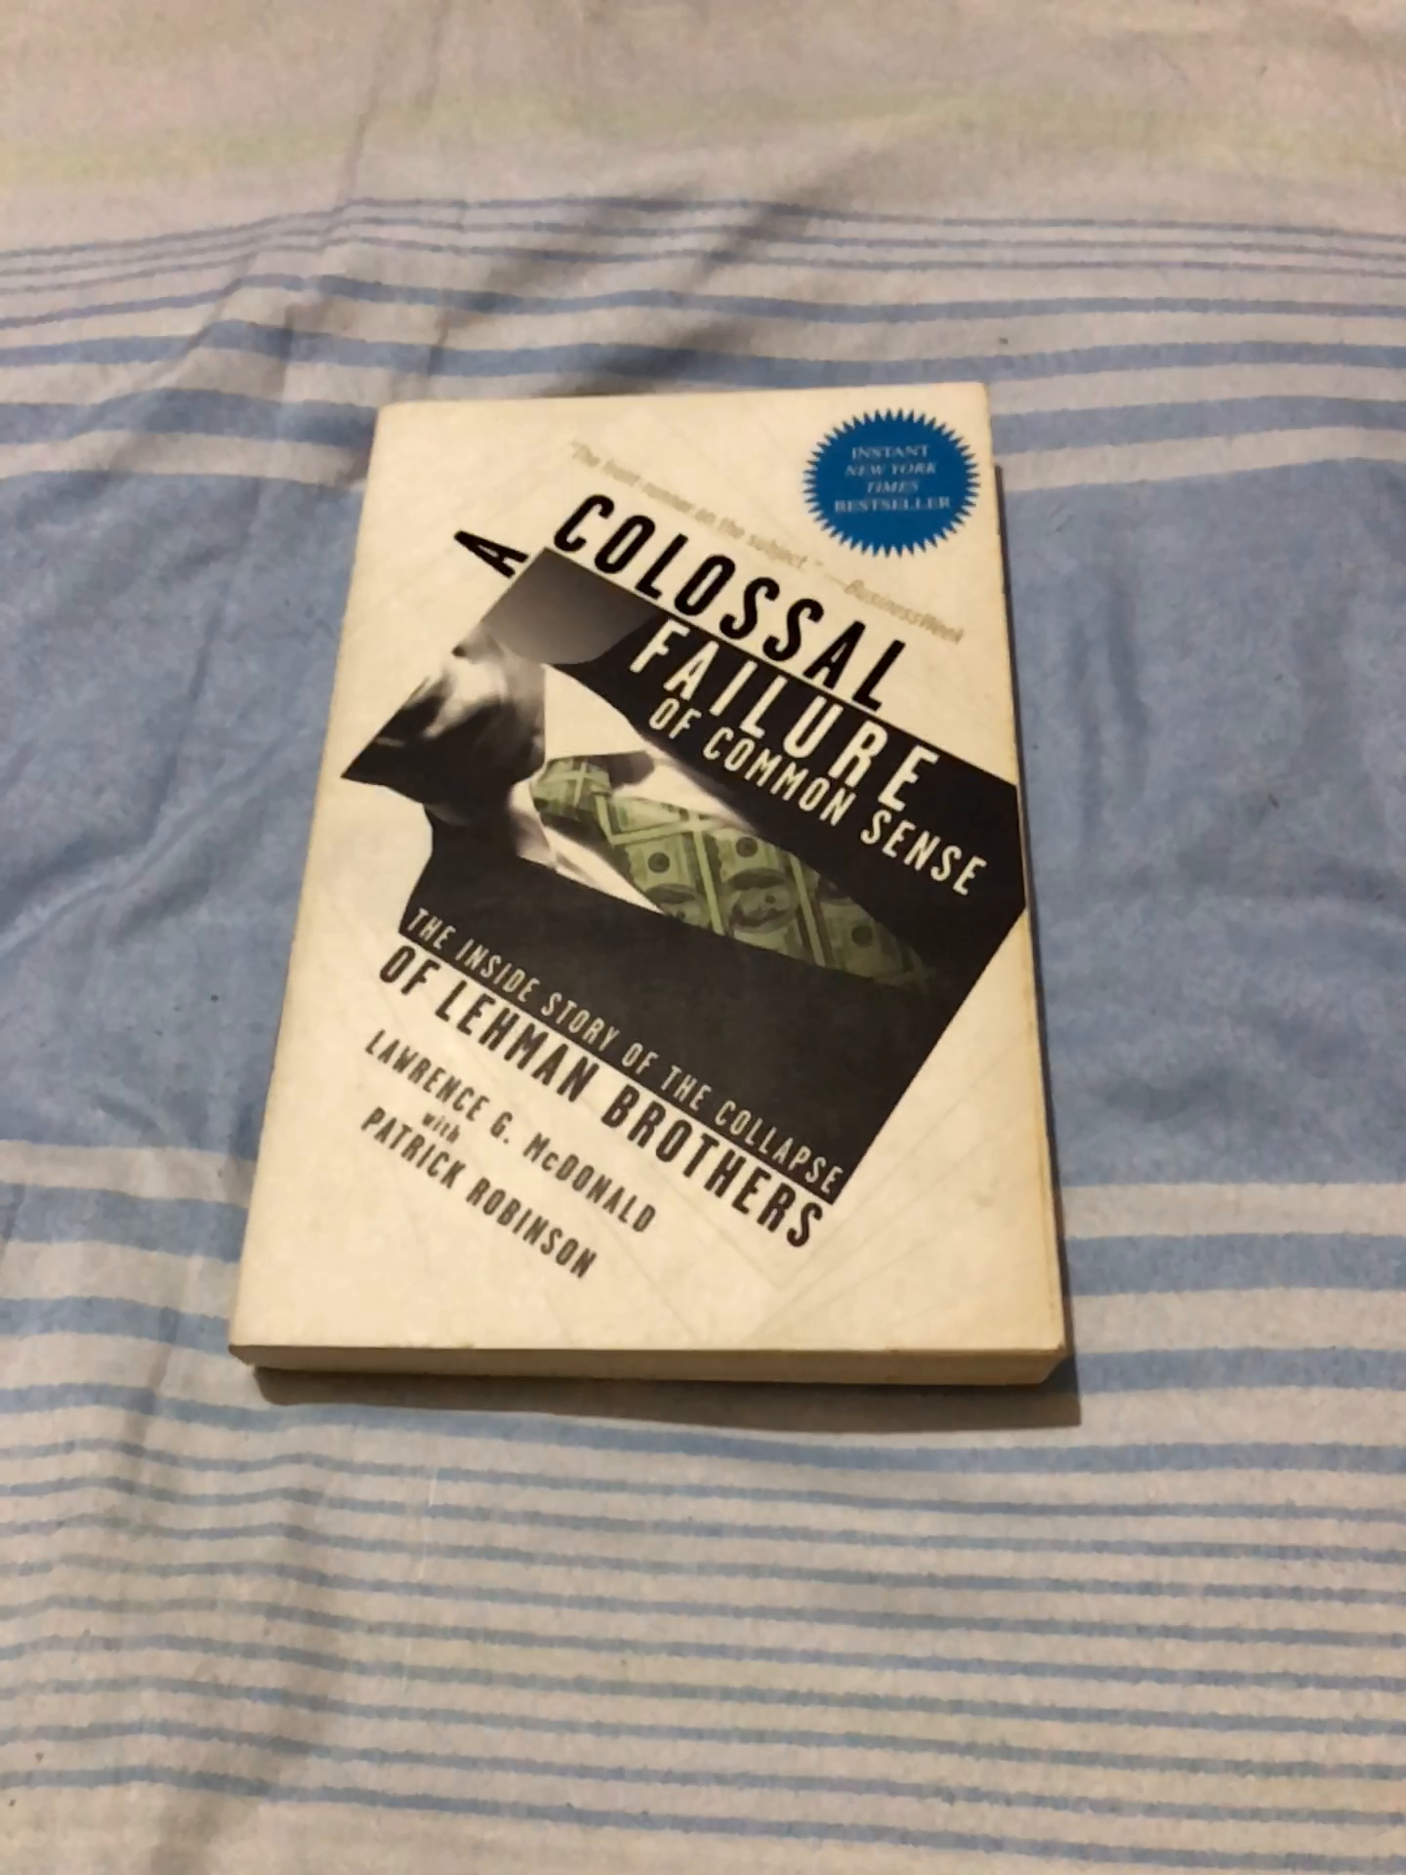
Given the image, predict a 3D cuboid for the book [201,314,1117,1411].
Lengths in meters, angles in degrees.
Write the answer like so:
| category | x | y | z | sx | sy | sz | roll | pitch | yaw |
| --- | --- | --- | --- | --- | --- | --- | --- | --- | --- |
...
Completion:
| category | x | y | z | sx | sy | sz | roll | pitch | yaw |
| --- | --- | --- | --- | --- | --- | --- | --- | --- | --- |
| book | -0.005 | -0.025 | 0.307 | 0.140 | 0.040 | 0.221 | 0 | 64 | 2 |
